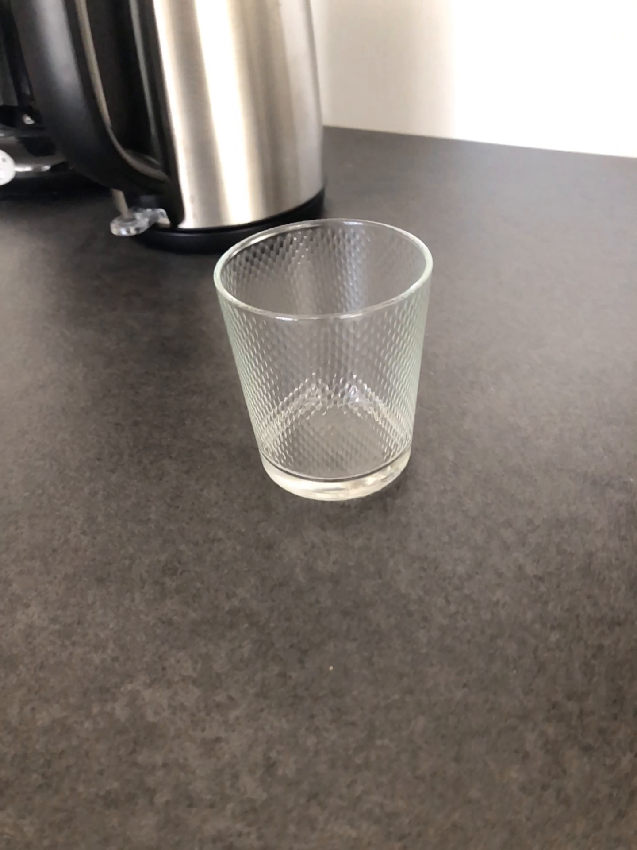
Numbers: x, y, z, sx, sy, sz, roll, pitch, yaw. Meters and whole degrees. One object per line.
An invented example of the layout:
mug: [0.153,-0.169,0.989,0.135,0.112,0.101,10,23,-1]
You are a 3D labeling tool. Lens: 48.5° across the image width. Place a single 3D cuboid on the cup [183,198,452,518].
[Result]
cup: [0.007,-0.028,0.272,0.080,0.089,0.081,-3,38,2]
